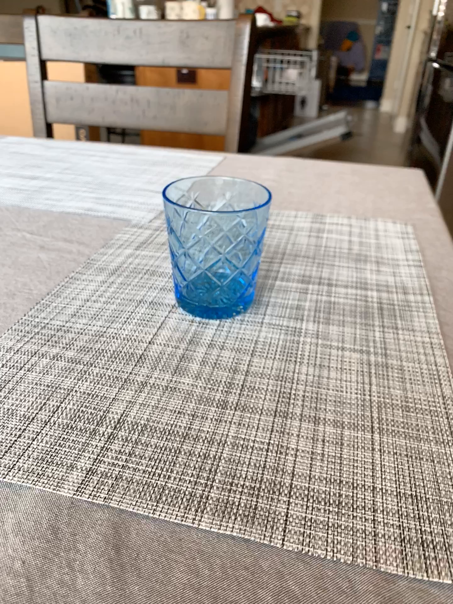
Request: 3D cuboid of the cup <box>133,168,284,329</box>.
[{"bbox_3d":[-0.009,-0.046,0.369,0.087,0.085,0.093,1,31,-1],"label":"cup"}]
